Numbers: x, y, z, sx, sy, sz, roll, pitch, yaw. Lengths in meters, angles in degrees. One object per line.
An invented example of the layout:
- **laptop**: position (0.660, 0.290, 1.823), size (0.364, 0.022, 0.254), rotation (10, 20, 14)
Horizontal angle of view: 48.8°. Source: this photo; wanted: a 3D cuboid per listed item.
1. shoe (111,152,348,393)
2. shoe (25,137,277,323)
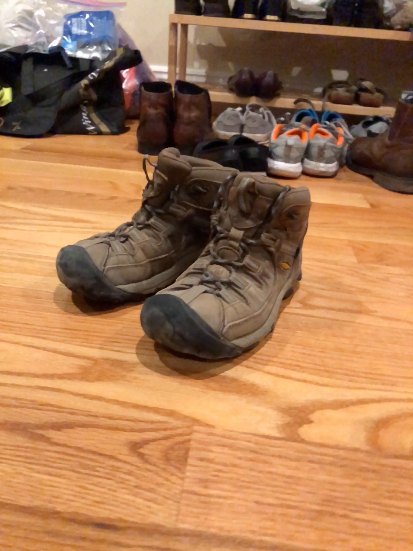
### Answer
- **shoe**: position (0.036, -0.027, 0.466), size (0.108, 0.139, 0.260), rotation (21, 32, 28)
- **shoe**: position (-0.054, -0.070, 0.532), size (0.260, 0.139, 0.108), rotation (-19, 36, -37)
